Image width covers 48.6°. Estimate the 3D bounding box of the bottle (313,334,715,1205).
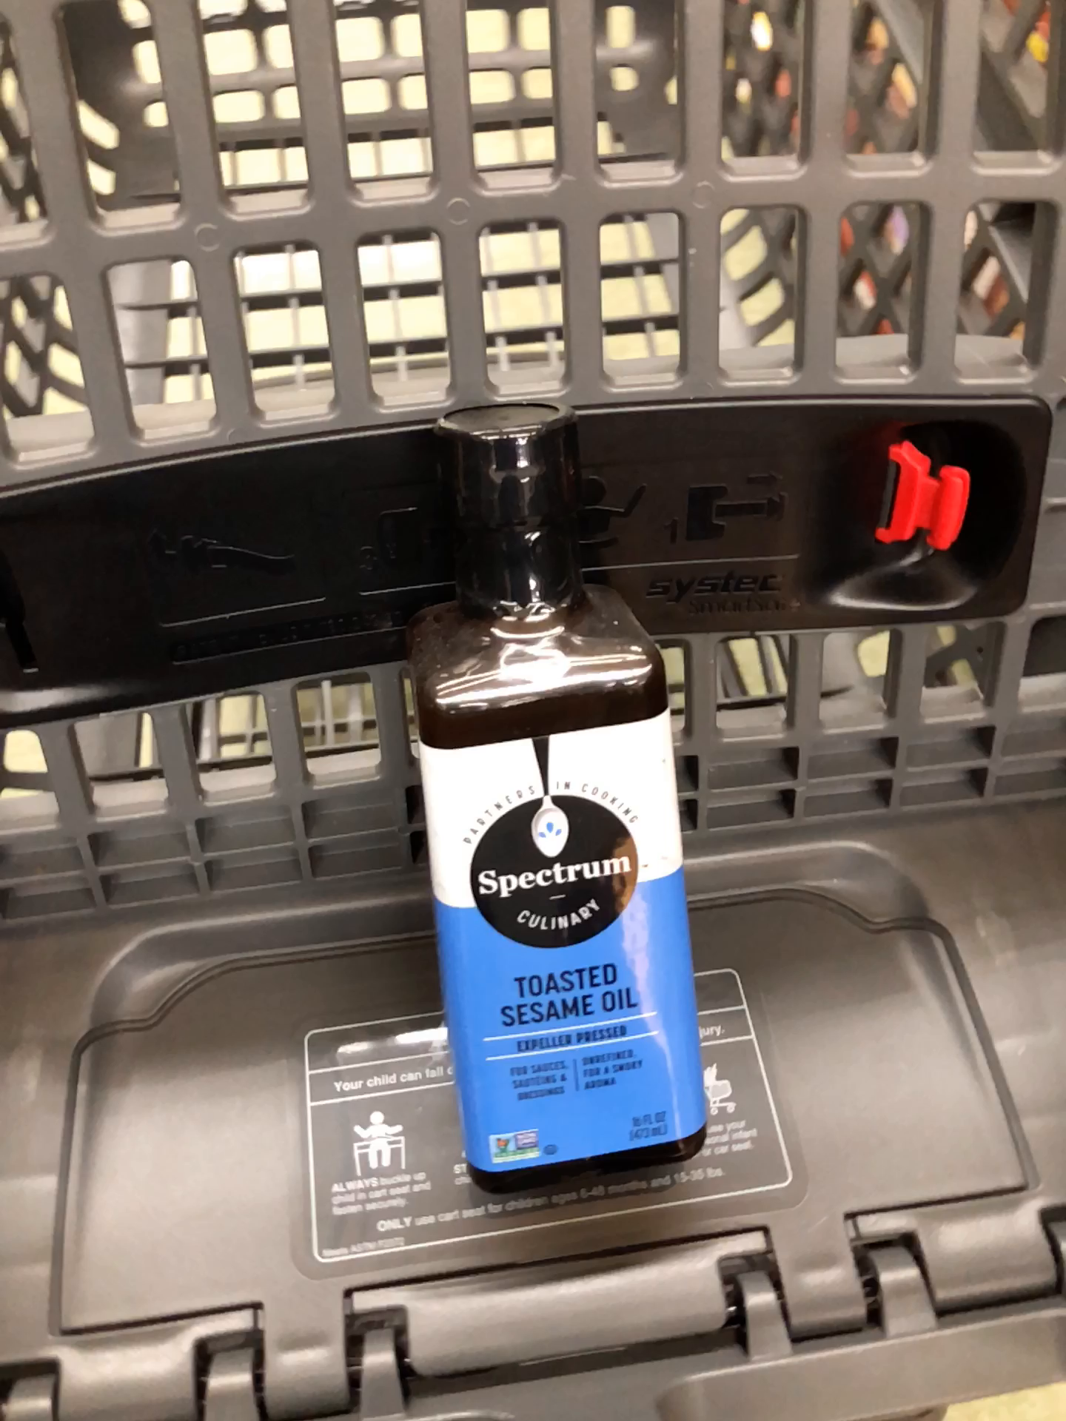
[{"bbox_3d":[-0.001,0.019,0.290,0.070,0.200,0.060,-8,25,-5],"label":"bottle"}]
